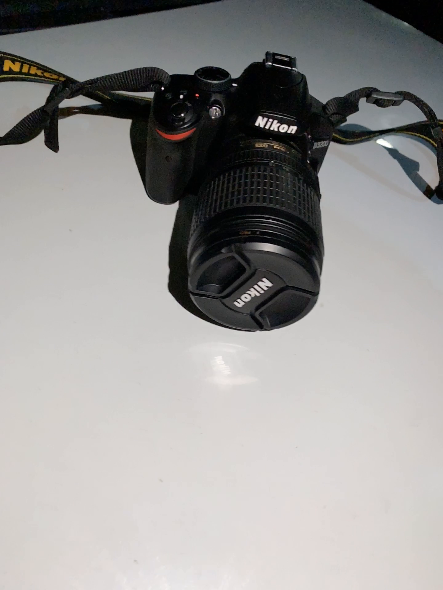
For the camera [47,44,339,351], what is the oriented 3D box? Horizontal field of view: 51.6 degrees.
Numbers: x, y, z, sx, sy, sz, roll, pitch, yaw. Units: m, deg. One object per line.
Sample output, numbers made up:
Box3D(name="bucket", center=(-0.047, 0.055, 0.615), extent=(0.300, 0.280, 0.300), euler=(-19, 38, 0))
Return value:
Box3D(name="camera", center=(-0.002, -0.080, 0.302), extent=(0.126, 0.099, 0.202), euler=(6, 43, 5))
